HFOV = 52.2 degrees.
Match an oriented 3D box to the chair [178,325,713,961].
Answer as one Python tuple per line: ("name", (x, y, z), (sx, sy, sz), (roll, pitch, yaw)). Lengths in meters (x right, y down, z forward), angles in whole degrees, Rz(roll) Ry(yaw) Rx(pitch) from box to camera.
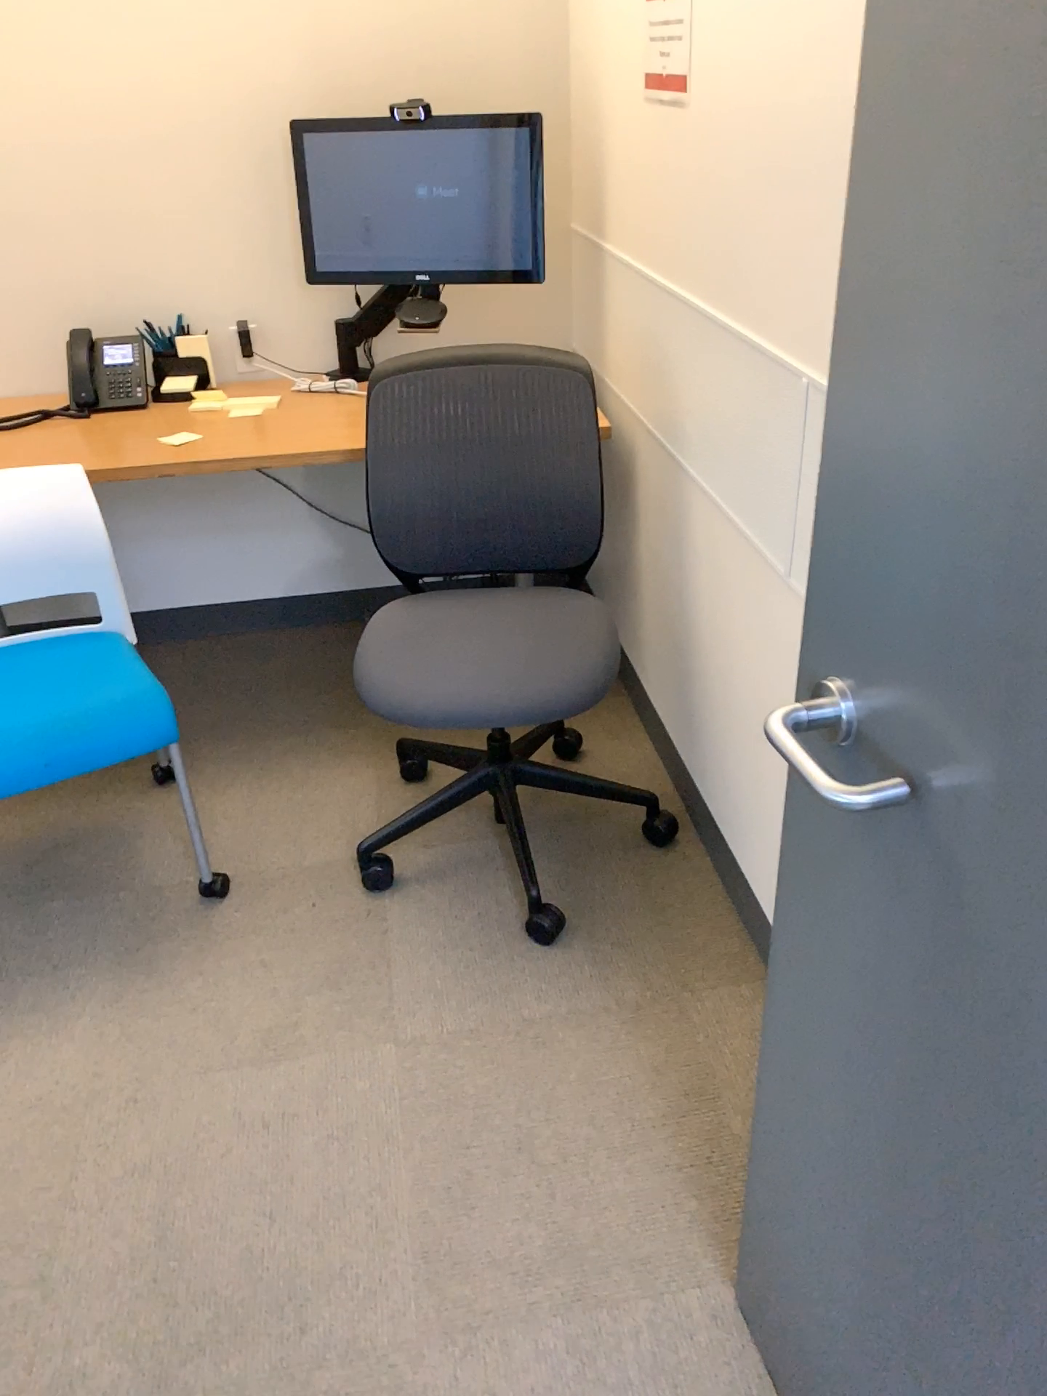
("chair", (-0.063, -0.169, 2.125), (0.750, 0.885, 0.976), (1, 31, 5))

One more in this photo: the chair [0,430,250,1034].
("chair", (-0.922, -0.004, 1.943), (0.530, 0.686, 0.795), (-17, 34, -23))
